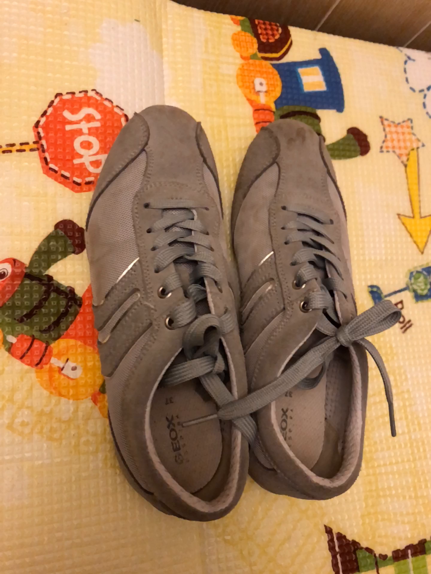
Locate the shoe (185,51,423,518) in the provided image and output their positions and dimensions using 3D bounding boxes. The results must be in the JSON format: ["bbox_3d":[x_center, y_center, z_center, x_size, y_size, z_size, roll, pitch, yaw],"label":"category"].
[{"bbox_3d":[0.049,0.003,0.299,0.090,0.120,0.230,8,78,-17],"label":"shoe"}]

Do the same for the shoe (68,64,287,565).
[{"bbox_3d":[-0.036,0.012,0.289,0.090,0.120,0.230,-2,82,-18],"label":"shoe"}]
